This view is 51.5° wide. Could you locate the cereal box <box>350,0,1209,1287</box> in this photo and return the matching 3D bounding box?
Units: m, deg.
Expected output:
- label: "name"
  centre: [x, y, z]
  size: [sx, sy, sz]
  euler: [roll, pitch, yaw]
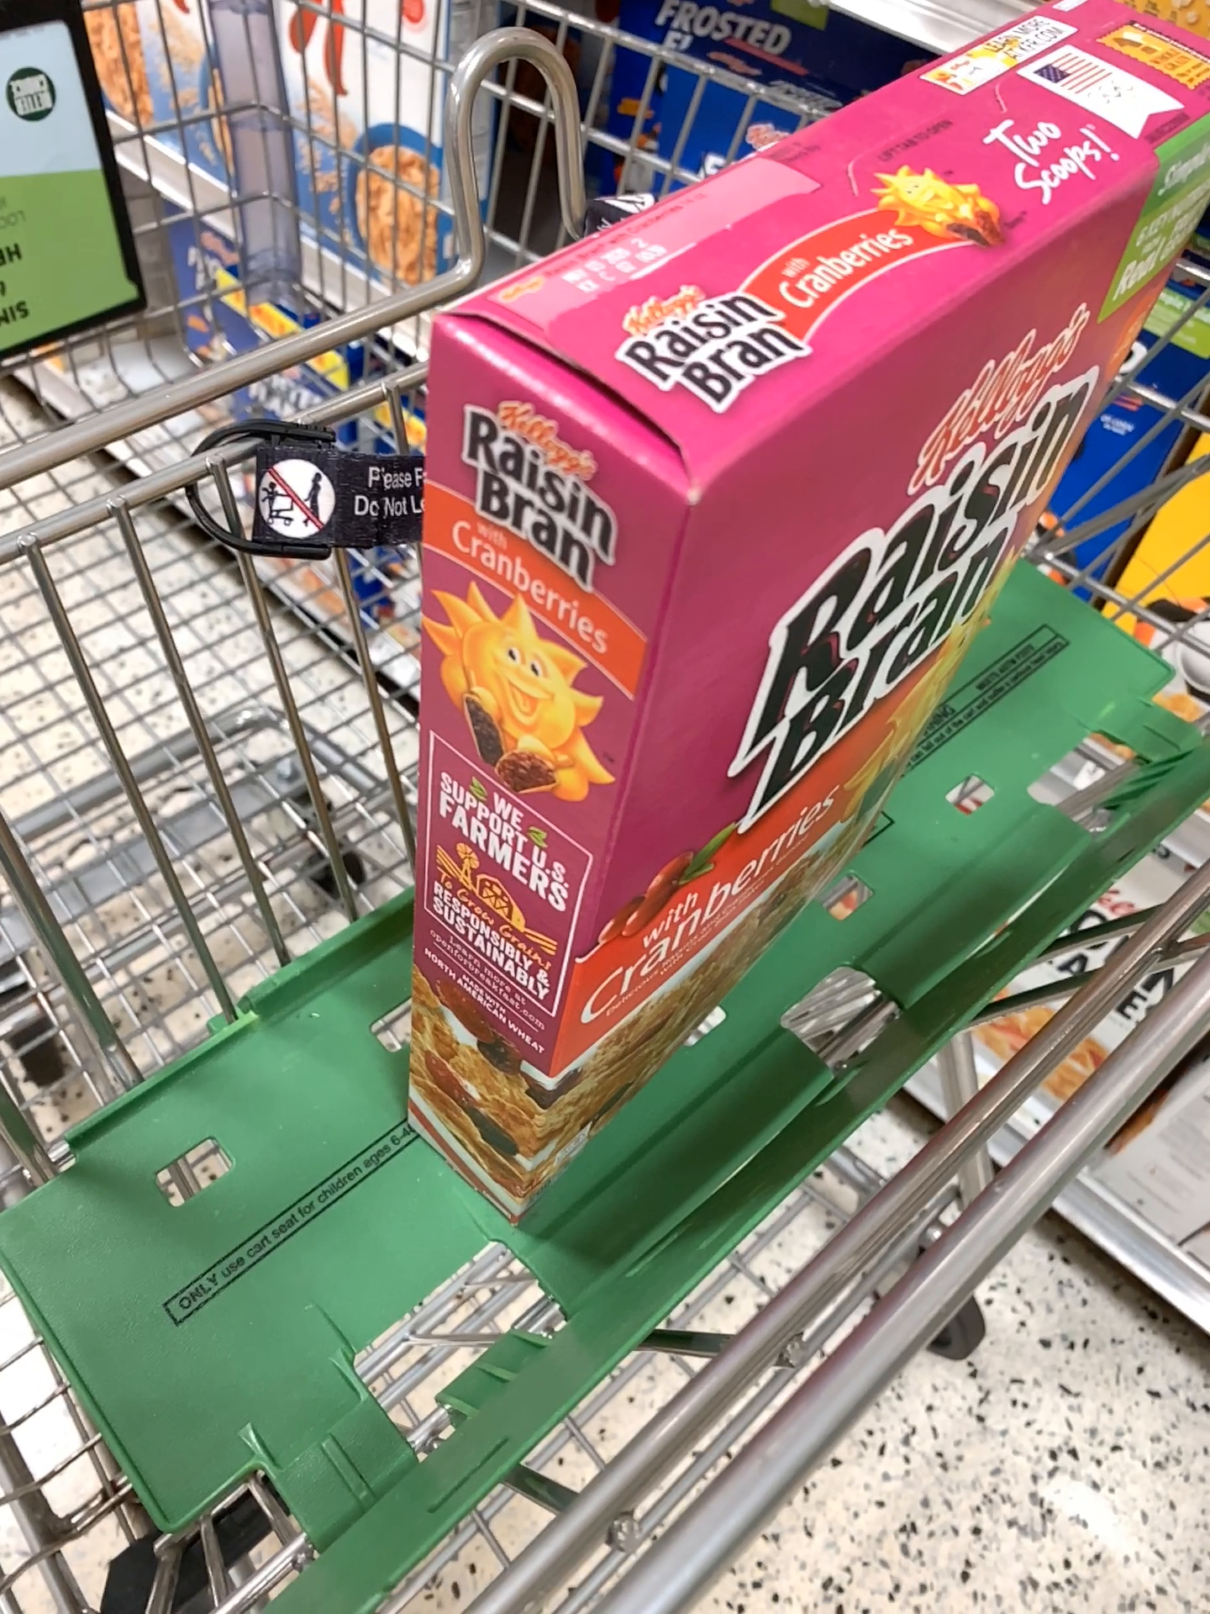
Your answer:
- label: "cereal box"
  centre: [0.029, -0.011, 0.344]
  size: [0.050, 0.327, 0.211]
  euler: [38, 57, 17]
